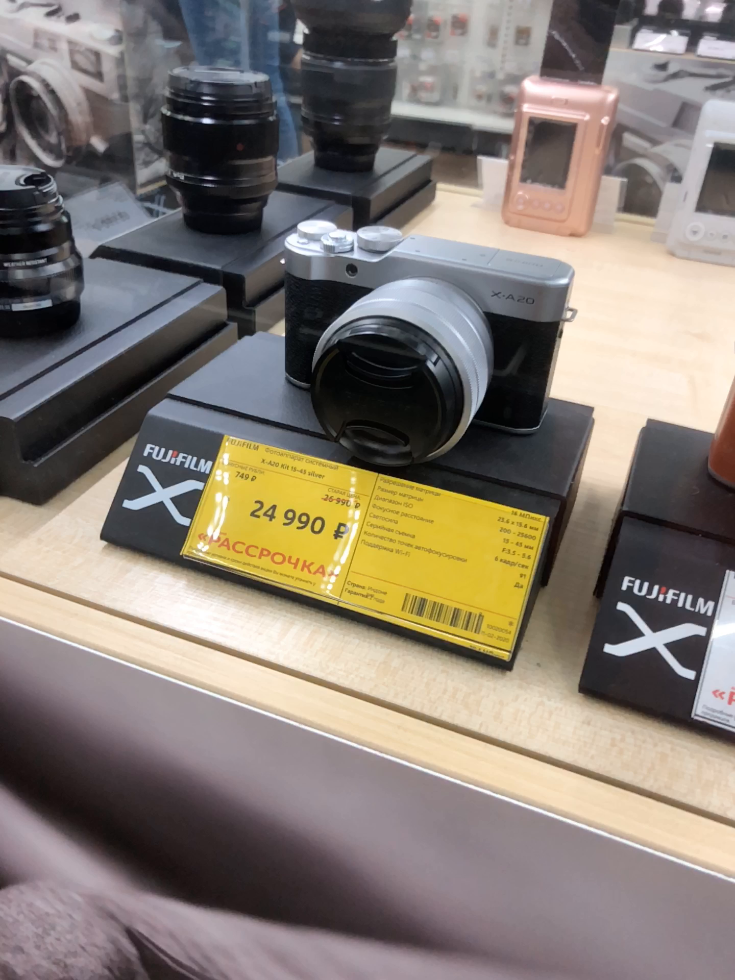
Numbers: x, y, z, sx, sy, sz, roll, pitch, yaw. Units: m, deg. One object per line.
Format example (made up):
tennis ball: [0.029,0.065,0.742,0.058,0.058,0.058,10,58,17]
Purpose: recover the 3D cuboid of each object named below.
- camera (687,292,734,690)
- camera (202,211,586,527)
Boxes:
camera: [0.189,-0.008,0.280,0.128,0.072,0.088,16,35,17]
camera: [0.012,-0.054,0.323,0.120,0.072,0.088,16,35,17]
